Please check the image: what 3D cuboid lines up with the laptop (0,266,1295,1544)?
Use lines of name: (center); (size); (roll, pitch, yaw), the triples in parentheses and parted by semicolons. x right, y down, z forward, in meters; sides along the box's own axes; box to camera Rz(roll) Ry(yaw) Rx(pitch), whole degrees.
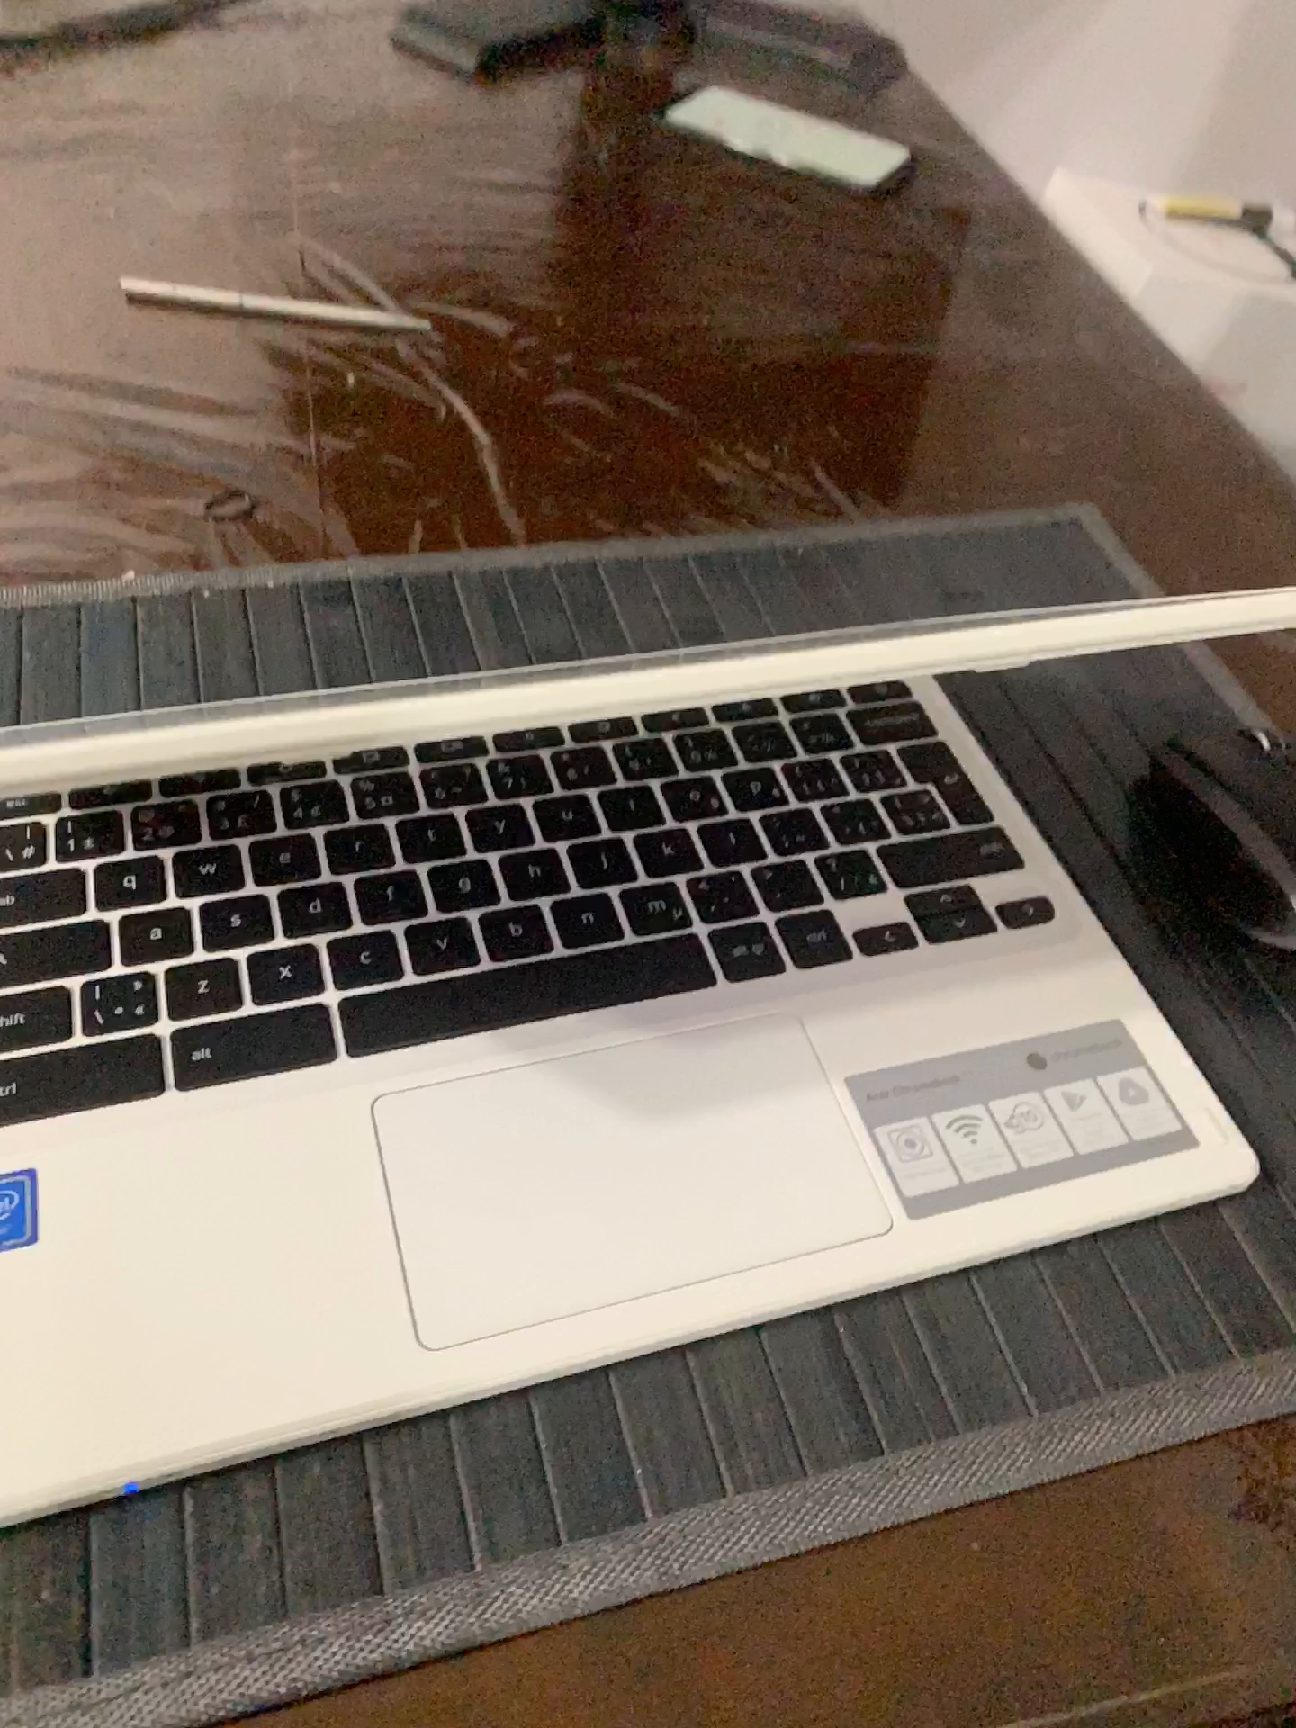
laptop: (-0.014, -0.016, 0.275); (0.281, 0.124, 0.182); (-10, 50, -17)
